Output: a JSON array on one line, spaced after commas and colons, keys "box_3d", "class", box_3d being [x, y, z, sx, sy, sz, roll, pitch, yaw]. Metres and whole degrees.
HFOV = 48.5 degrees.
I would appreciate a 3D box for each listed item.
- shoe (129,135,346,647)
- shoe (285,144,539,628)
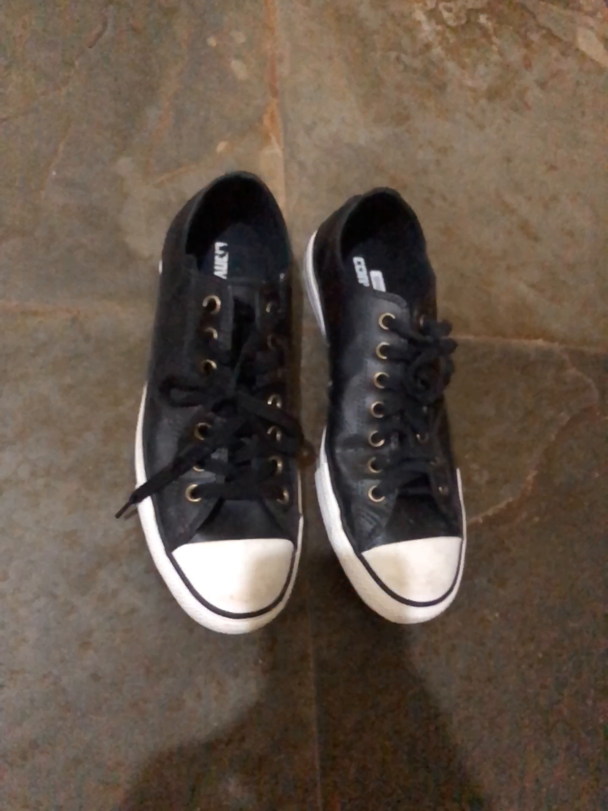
[{"box_3d": [-0.050, -0.011, 0.417, 0.100, 0.080, 0.291, 1, 72, -21], "class": "shoe"}, {"box_3d": [0.063, -0.015, 0.466, 0.110, 0.080, 0.311, 1, 72, -21], "class": "shoe"}]
